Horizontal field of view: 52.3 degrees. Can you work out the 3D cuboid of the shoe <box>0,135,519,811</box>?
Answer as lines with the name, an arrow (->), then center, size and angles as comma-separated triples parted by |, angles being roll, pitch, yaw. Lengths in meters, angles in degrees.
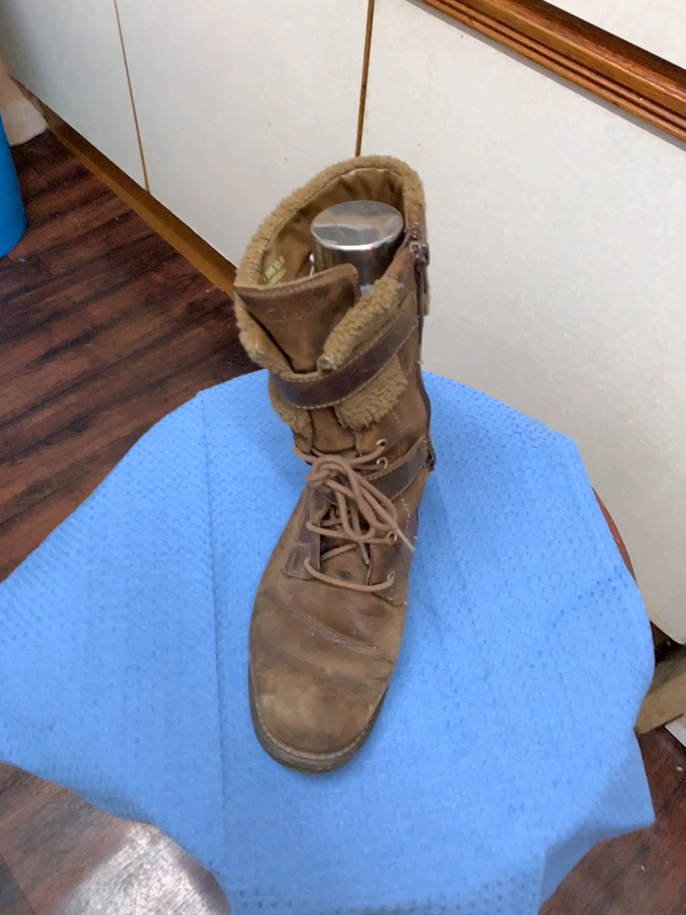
shoe -> -0.008, 0.011, 0.369 | 0.120, 0.228, 0.252 | 14, 55, 14
